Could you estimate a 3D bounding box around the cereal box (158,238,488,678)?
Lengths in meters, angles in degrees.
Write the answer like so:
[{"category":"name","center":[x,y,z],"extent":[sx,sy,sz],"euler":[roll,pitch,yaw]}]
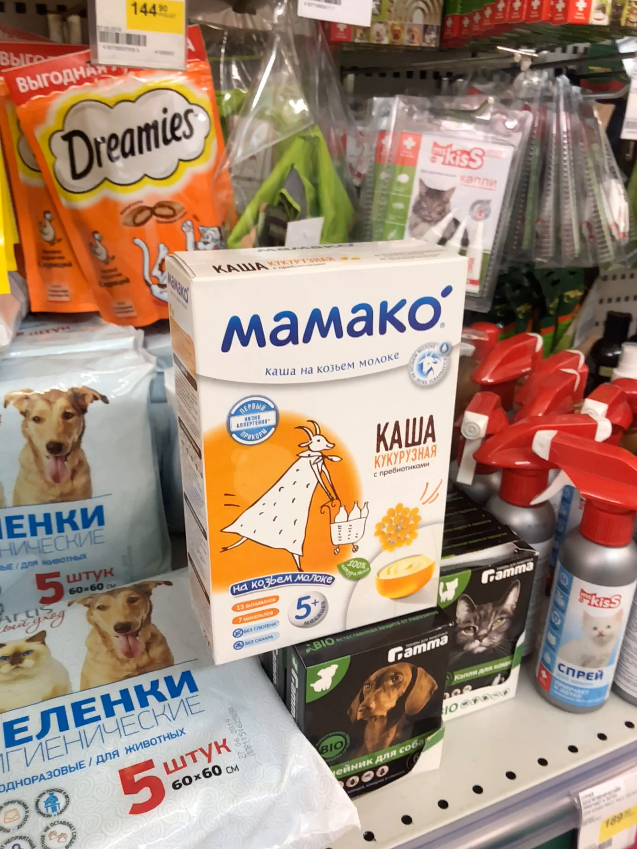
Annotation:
[{"category":"cereal box","center":[0.001,0.014,0.355],"extent":[0.140,0.199,0.050],"euler":[-8,24,-21]}]
